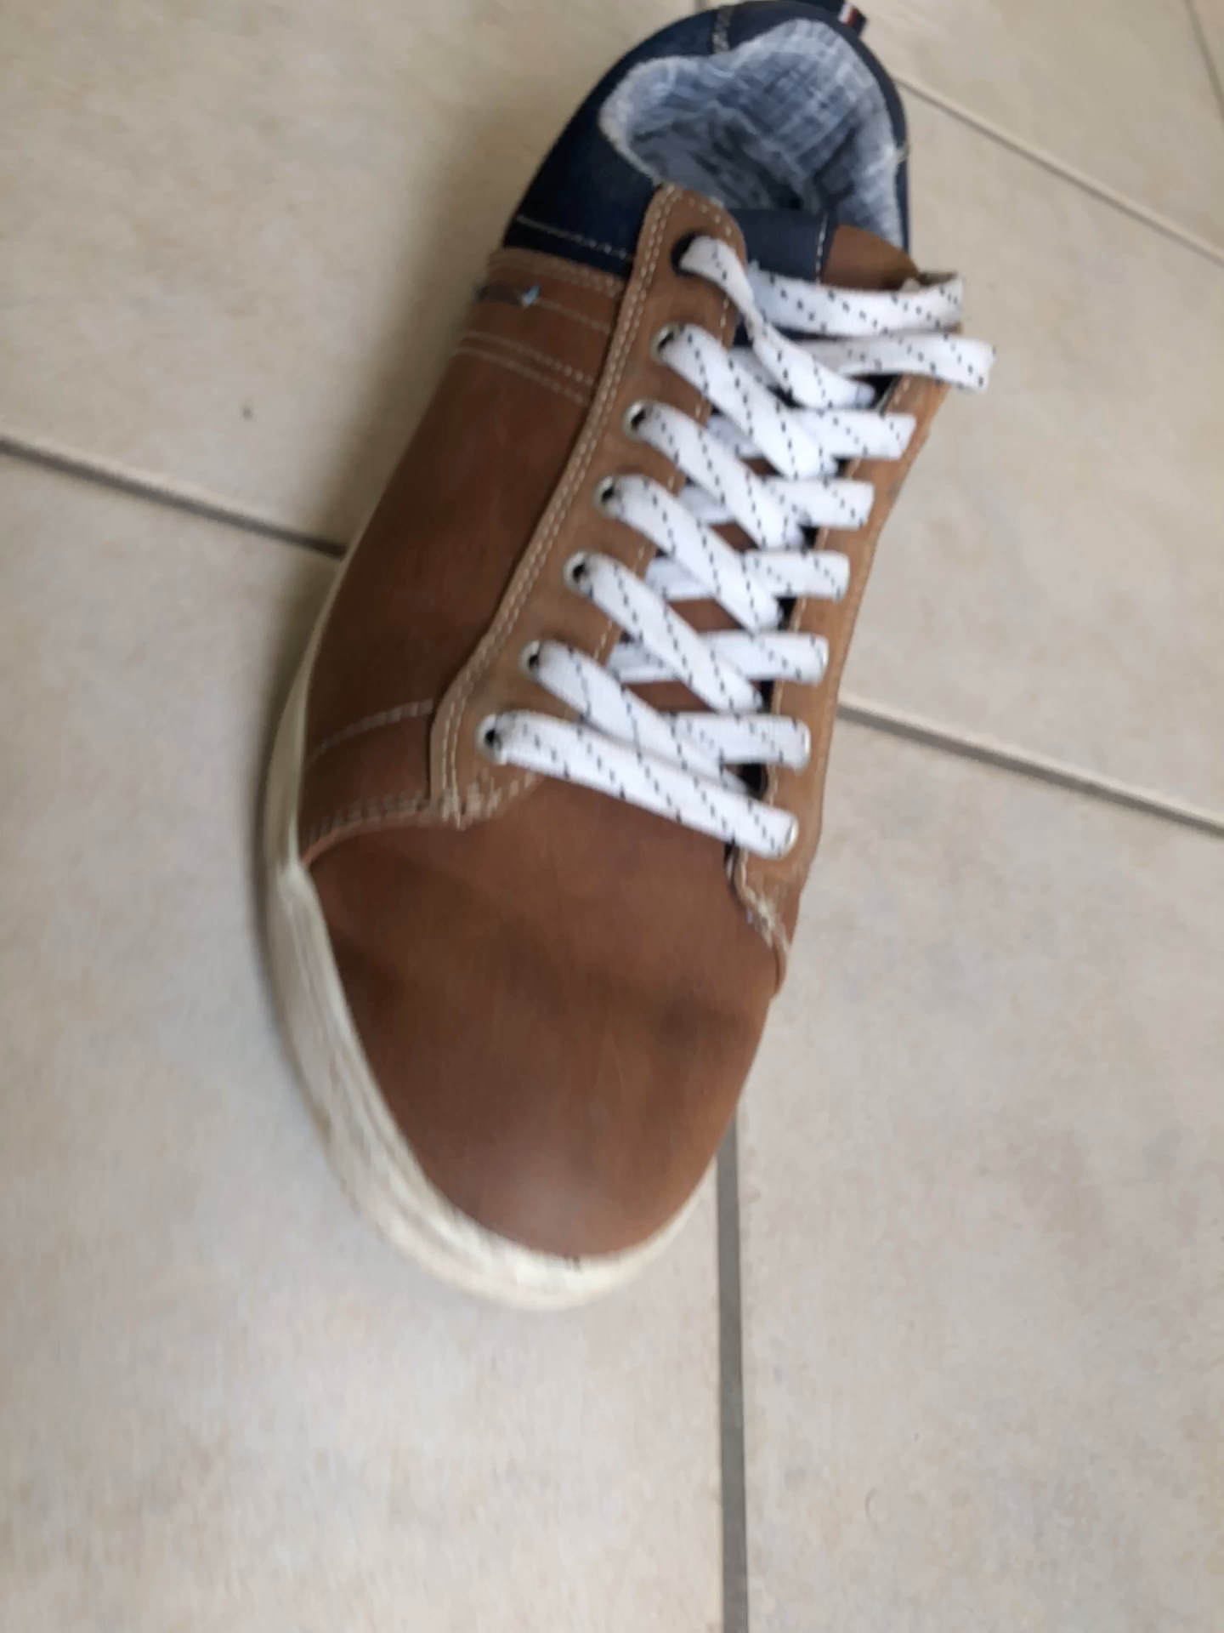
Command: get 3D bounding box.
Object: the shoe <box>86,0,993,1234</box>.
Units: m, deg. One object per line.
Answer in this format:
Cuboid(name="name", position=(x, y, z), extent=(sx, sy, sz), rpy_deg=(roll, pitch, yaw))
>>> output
Cuboid(name="shoe", position=(0.003, -0.093, 0.297), extent=(0.100, 0.119, 0.321), rpy_deg=(23, 56, -19))
